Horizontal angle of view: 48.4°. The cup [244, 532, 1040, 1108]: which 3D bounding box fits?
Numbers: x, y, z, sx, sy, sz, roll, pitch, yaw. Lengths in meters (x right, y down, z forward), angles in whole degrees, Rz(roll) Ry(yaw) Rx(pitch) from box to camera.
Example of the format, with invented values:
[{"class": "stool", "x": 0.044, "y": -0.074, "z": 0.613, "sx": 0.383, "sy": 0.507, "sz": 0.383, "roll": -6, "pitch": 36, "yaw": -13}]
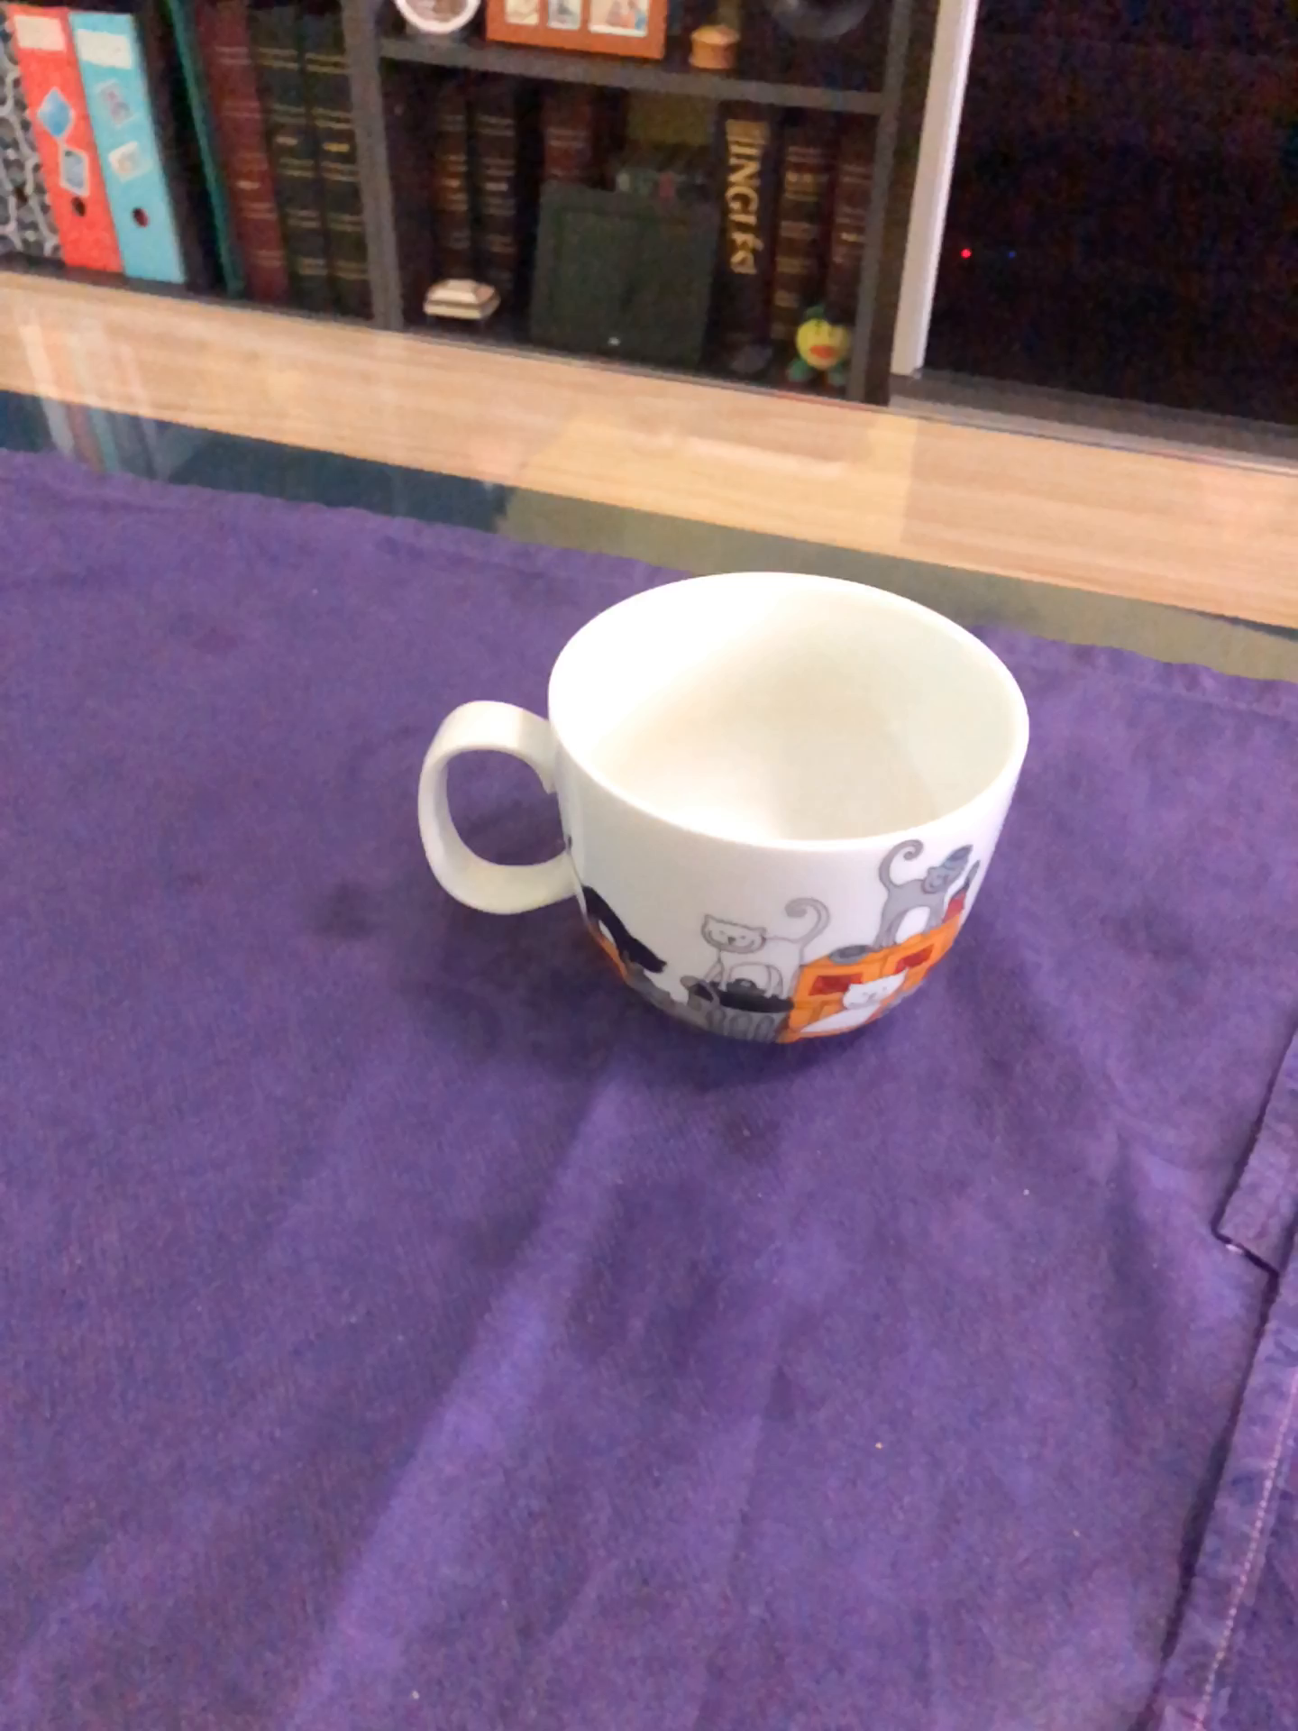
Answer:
[{"class": "cup", "x": 0.002, "y": -0.013, "z": 0.309, "sx": 0.140, "sy": 0.070, "sz": 0.090, "roll": 5, "pitch": 42, "yaw": 5}]
